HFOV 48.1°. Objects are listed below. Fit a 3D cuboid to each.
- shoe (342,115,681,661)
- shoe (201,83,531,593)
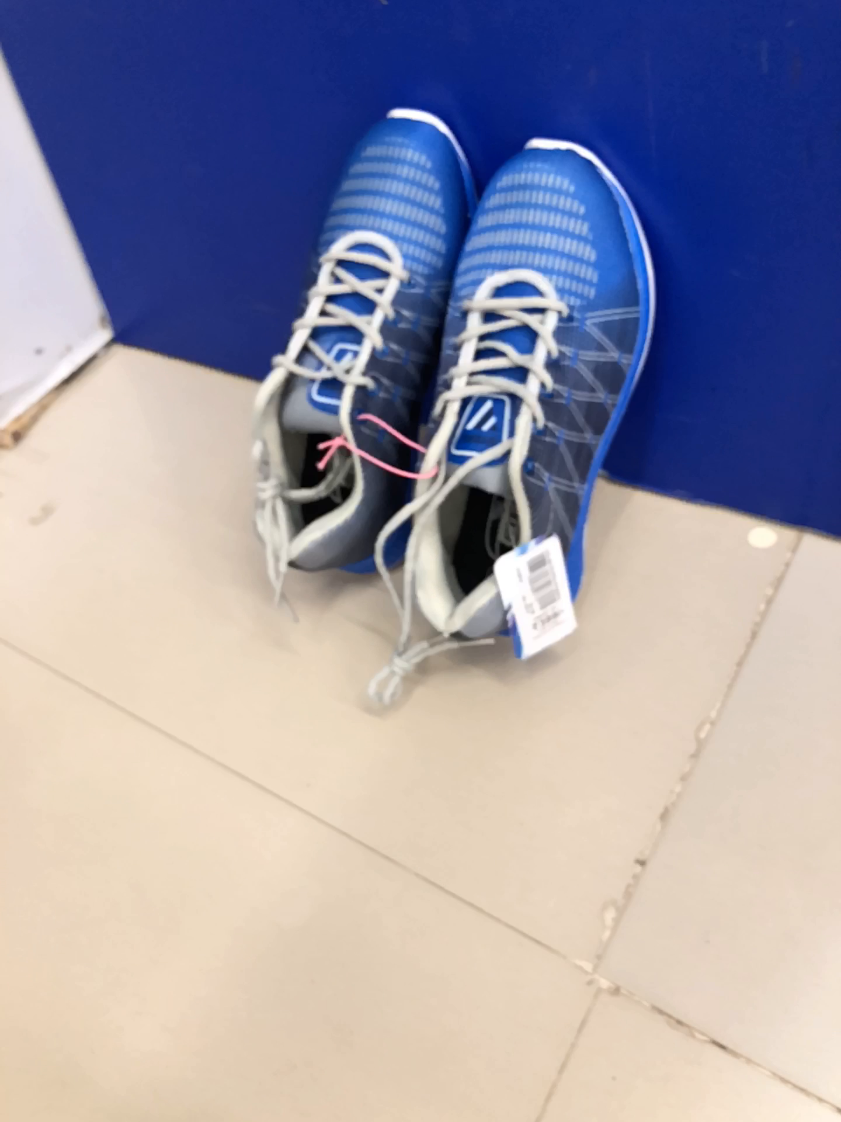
[{"bbox_3d":[0.057,-0.089,0.533,0.100,0.120,0.270,13,91,25],"label":"shoe"},{"bbox_3d":[-0.032,-0.129,0.578,0.110,0.270,0.100,17,8,21],"label":"shoe"}]
